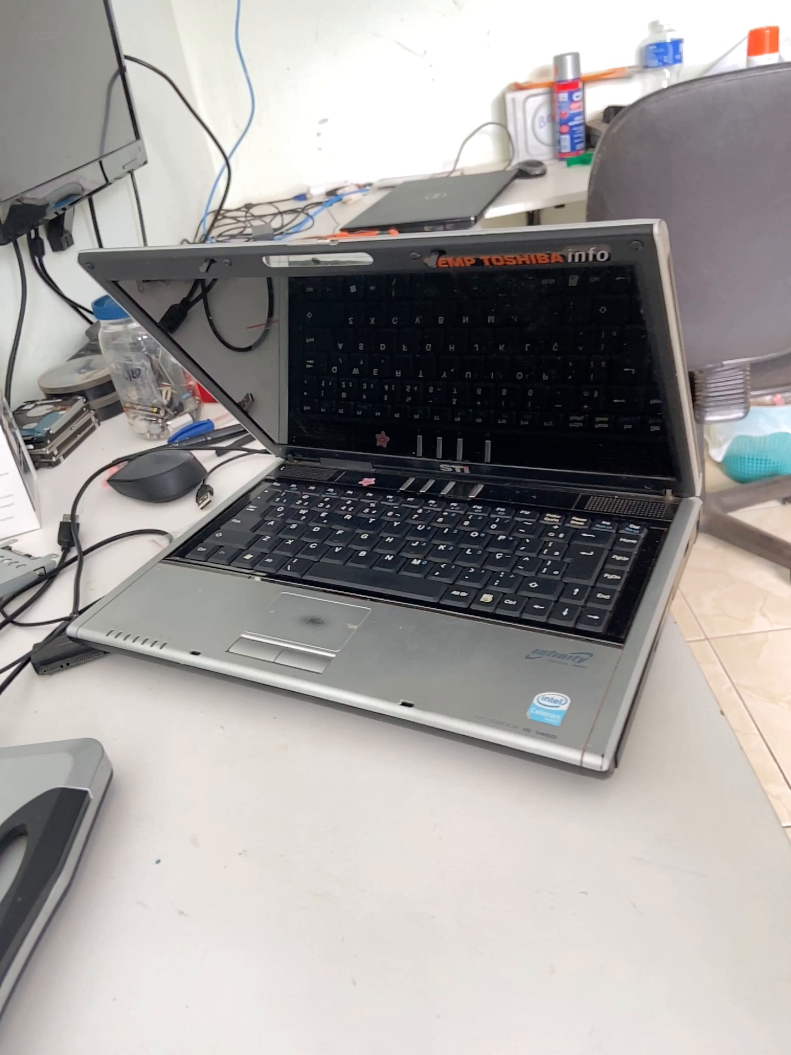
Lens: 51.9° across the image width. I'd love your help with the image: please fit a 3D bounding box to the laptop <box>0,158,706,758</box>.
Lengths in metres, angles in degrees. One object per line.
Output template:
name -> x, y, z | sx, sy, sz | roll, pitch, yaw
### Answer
laptop -> -0.022, -0.065, 0.467 | 0.338, 0.210, 0.237 | 7, 33, 27
